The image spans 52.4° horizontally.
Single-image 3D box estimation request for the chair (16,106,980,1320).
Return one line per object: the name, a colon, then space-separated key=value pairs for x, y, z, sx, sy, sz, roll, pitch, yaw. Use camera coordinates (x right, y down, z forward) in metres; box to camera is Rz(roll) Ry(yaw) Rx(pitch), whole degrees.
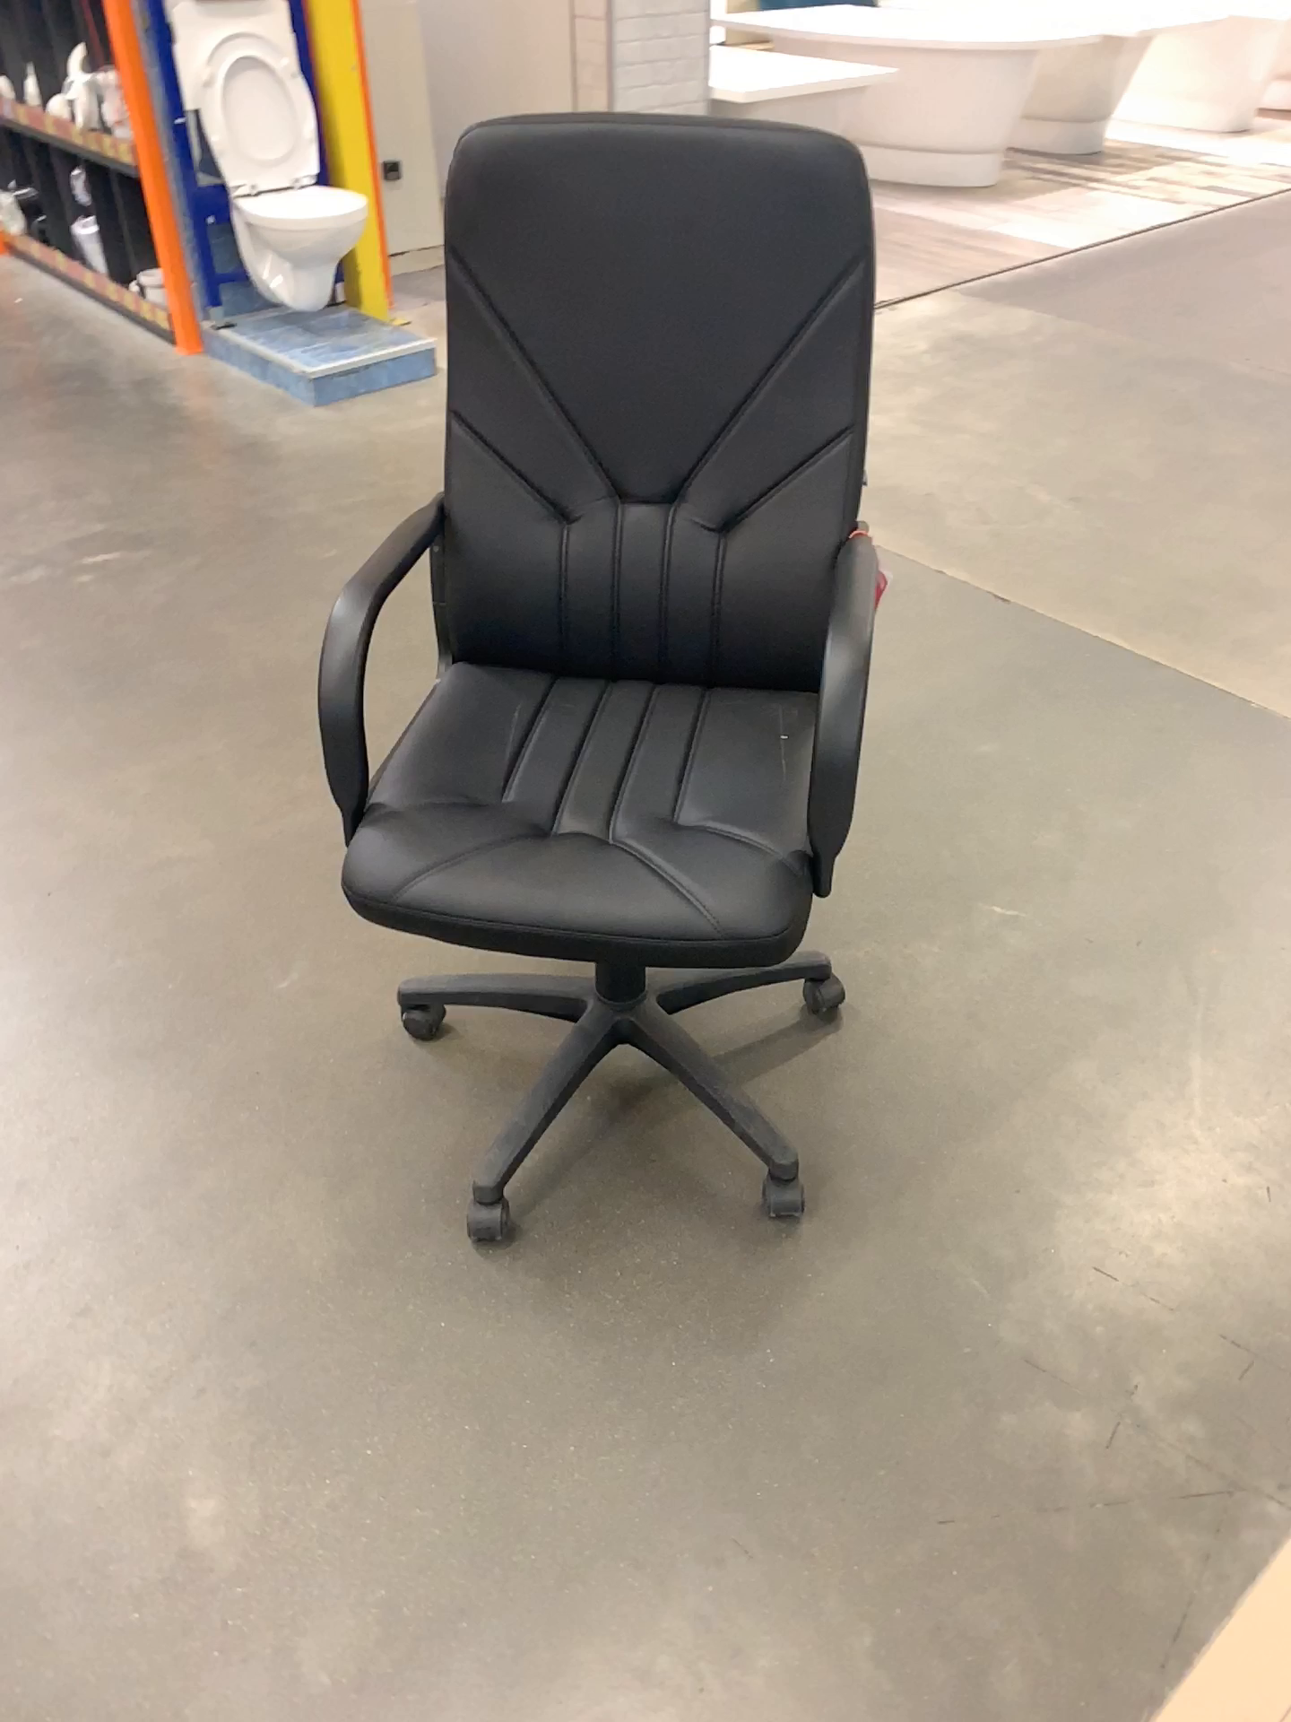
chair: x=-0.041 y=-0.192 z=1.525 sx=0.670 sy=1.084 sz=0.814 roll=6 pitch=38 yaw=9
